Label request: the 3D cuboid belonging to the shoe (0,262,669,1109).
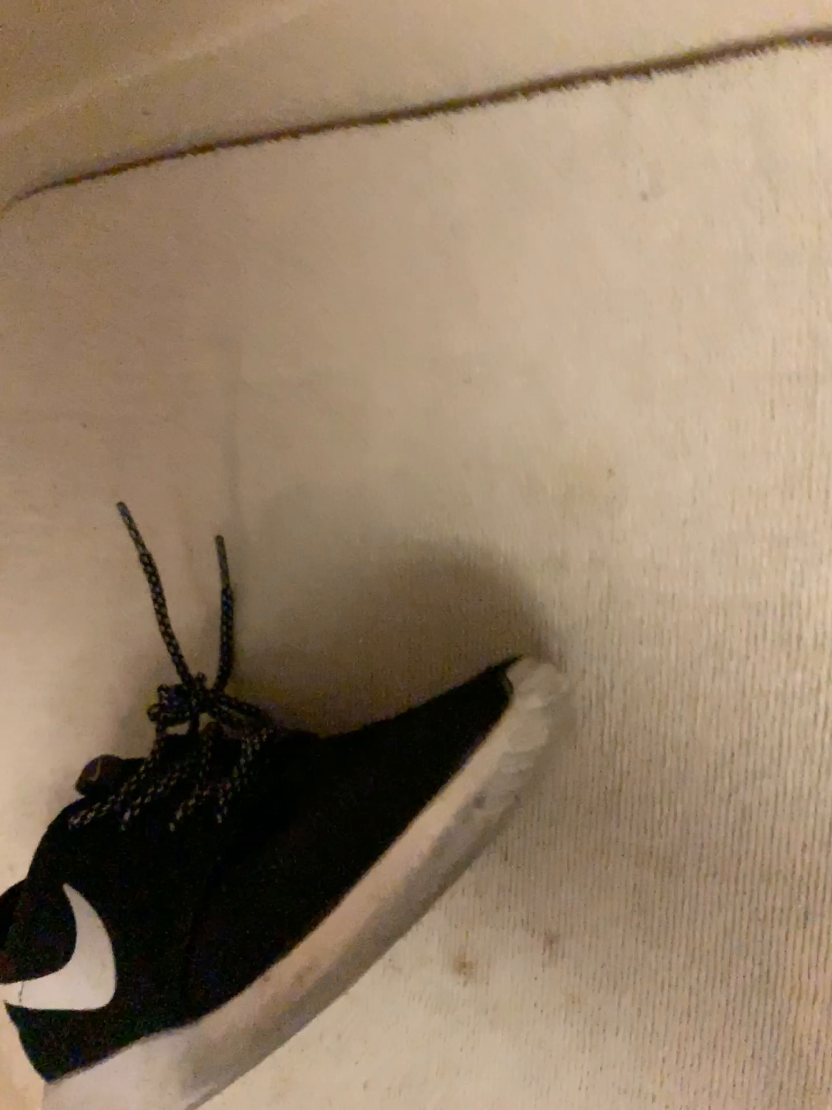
[{"bbox_3d":[-0.089,0.078,0.314,0.270,0.100,0.180,-47,72,24],"label":"shoe"}]
